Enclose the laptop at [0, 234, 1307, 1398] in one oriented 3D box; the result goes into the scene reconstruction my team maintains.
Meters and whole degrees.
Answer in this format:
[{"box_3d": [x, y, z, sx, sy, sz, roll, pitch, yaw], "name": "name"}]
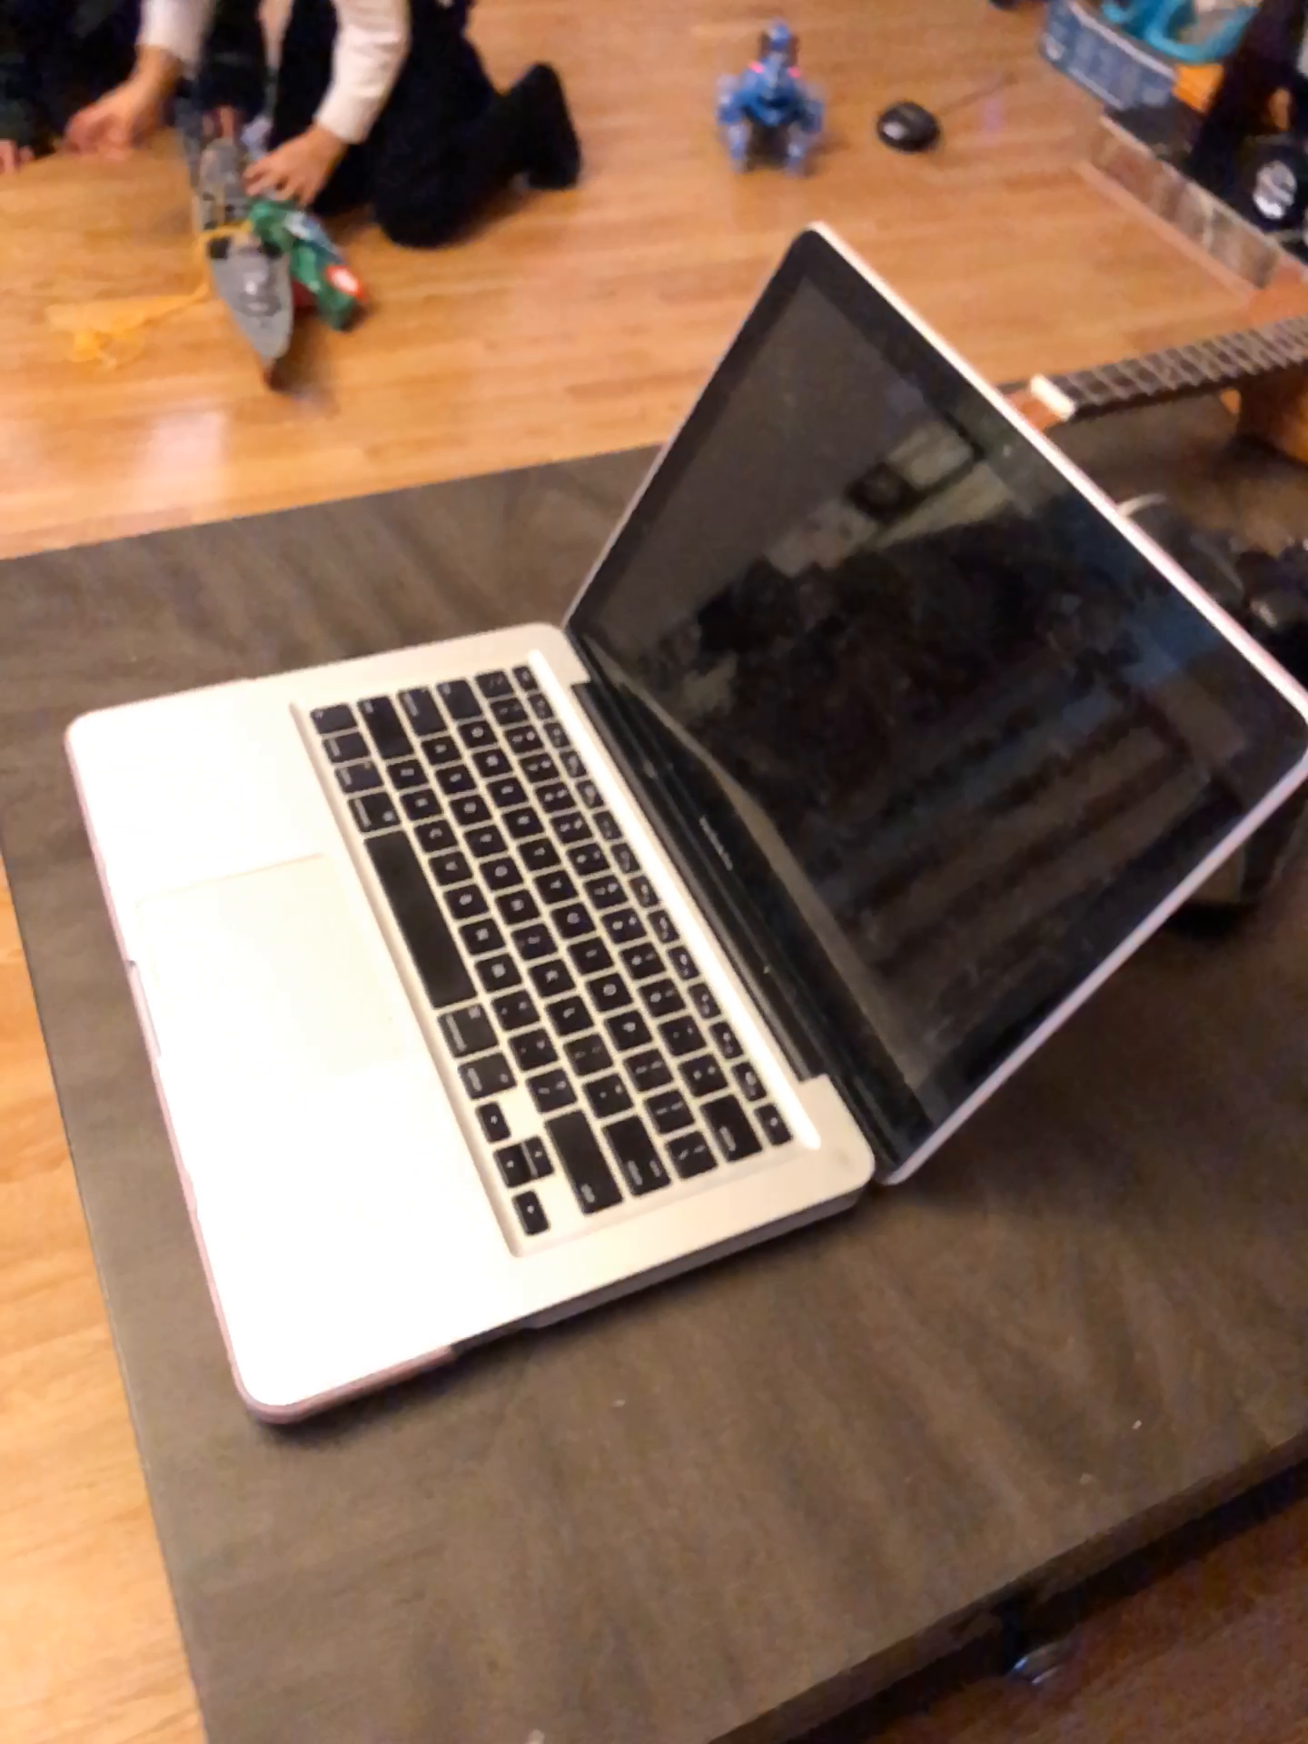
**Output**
[{"box_3d": [-0.028, -0.050, 0.518, 0.321, 0.185, 0.313, -15, 53, -20], "name": "laptop"}]
